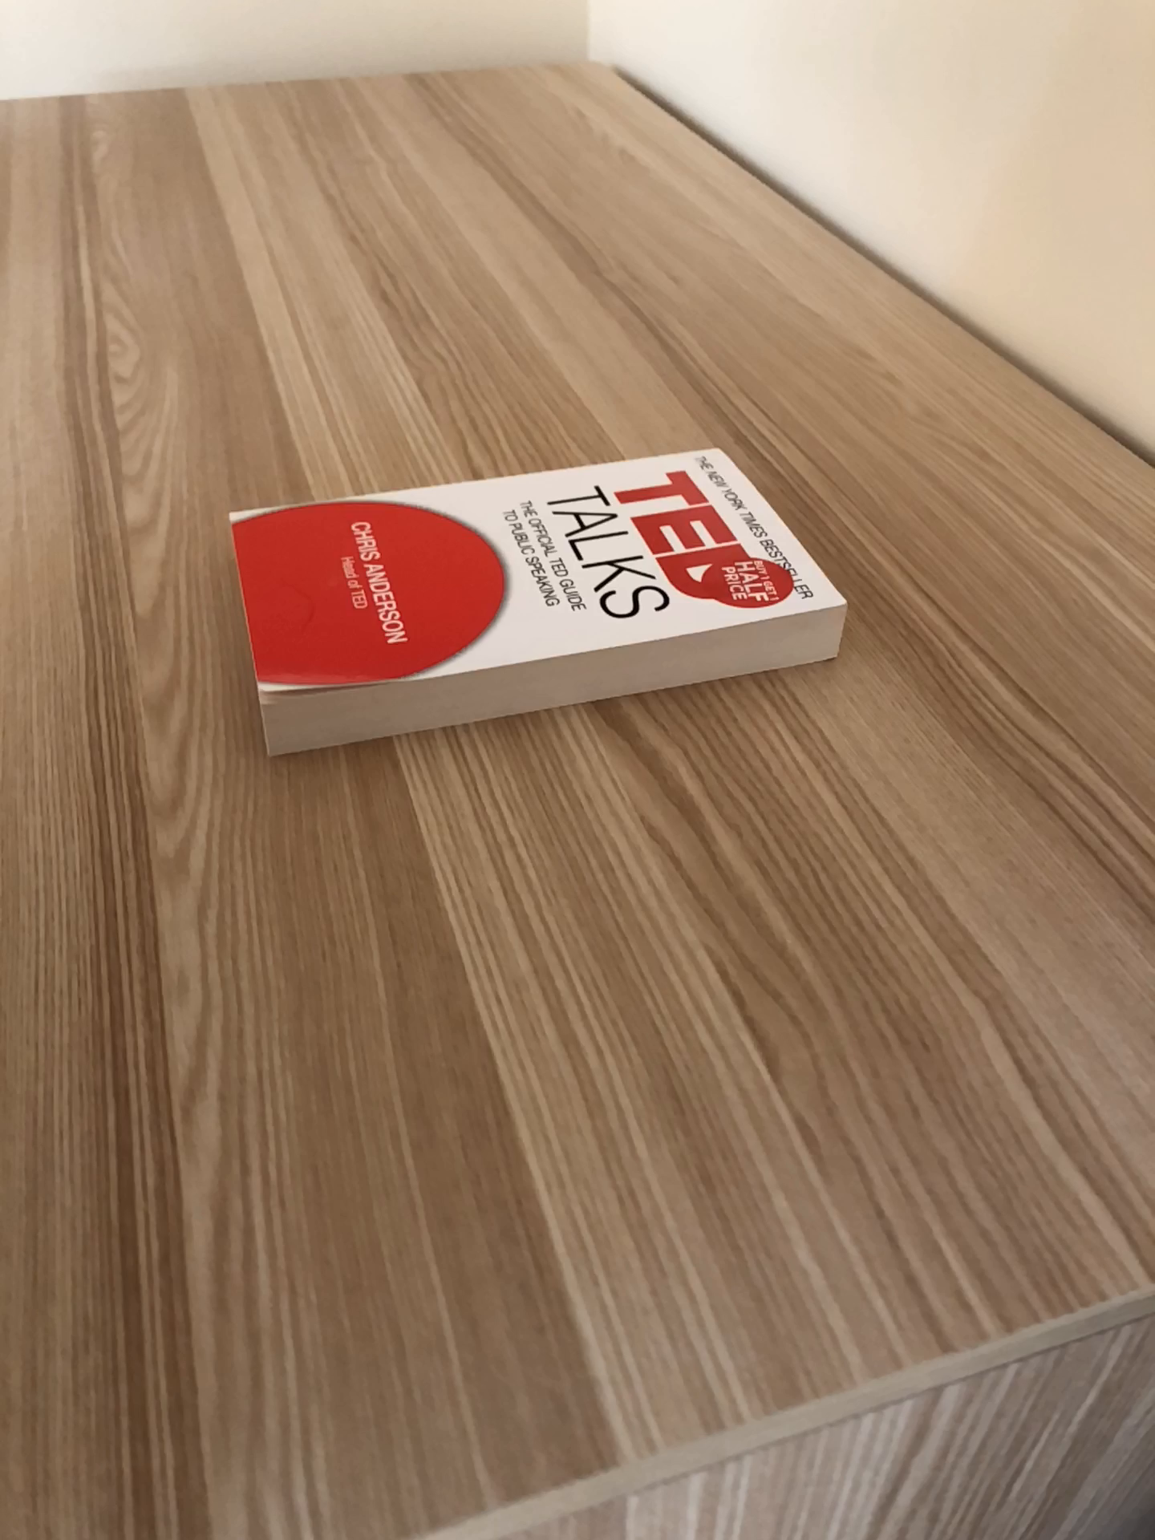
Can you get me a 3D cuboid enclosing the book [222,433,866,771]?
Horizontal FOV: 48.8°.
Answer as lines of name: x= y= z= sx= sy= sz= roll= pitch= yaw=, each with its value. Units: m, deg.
book: x=-0.020 y=-0.075 z=0.500 sx=0.220 sy=0.030 sz=0.138 roll=-11 pitch=42 yaw=-12
